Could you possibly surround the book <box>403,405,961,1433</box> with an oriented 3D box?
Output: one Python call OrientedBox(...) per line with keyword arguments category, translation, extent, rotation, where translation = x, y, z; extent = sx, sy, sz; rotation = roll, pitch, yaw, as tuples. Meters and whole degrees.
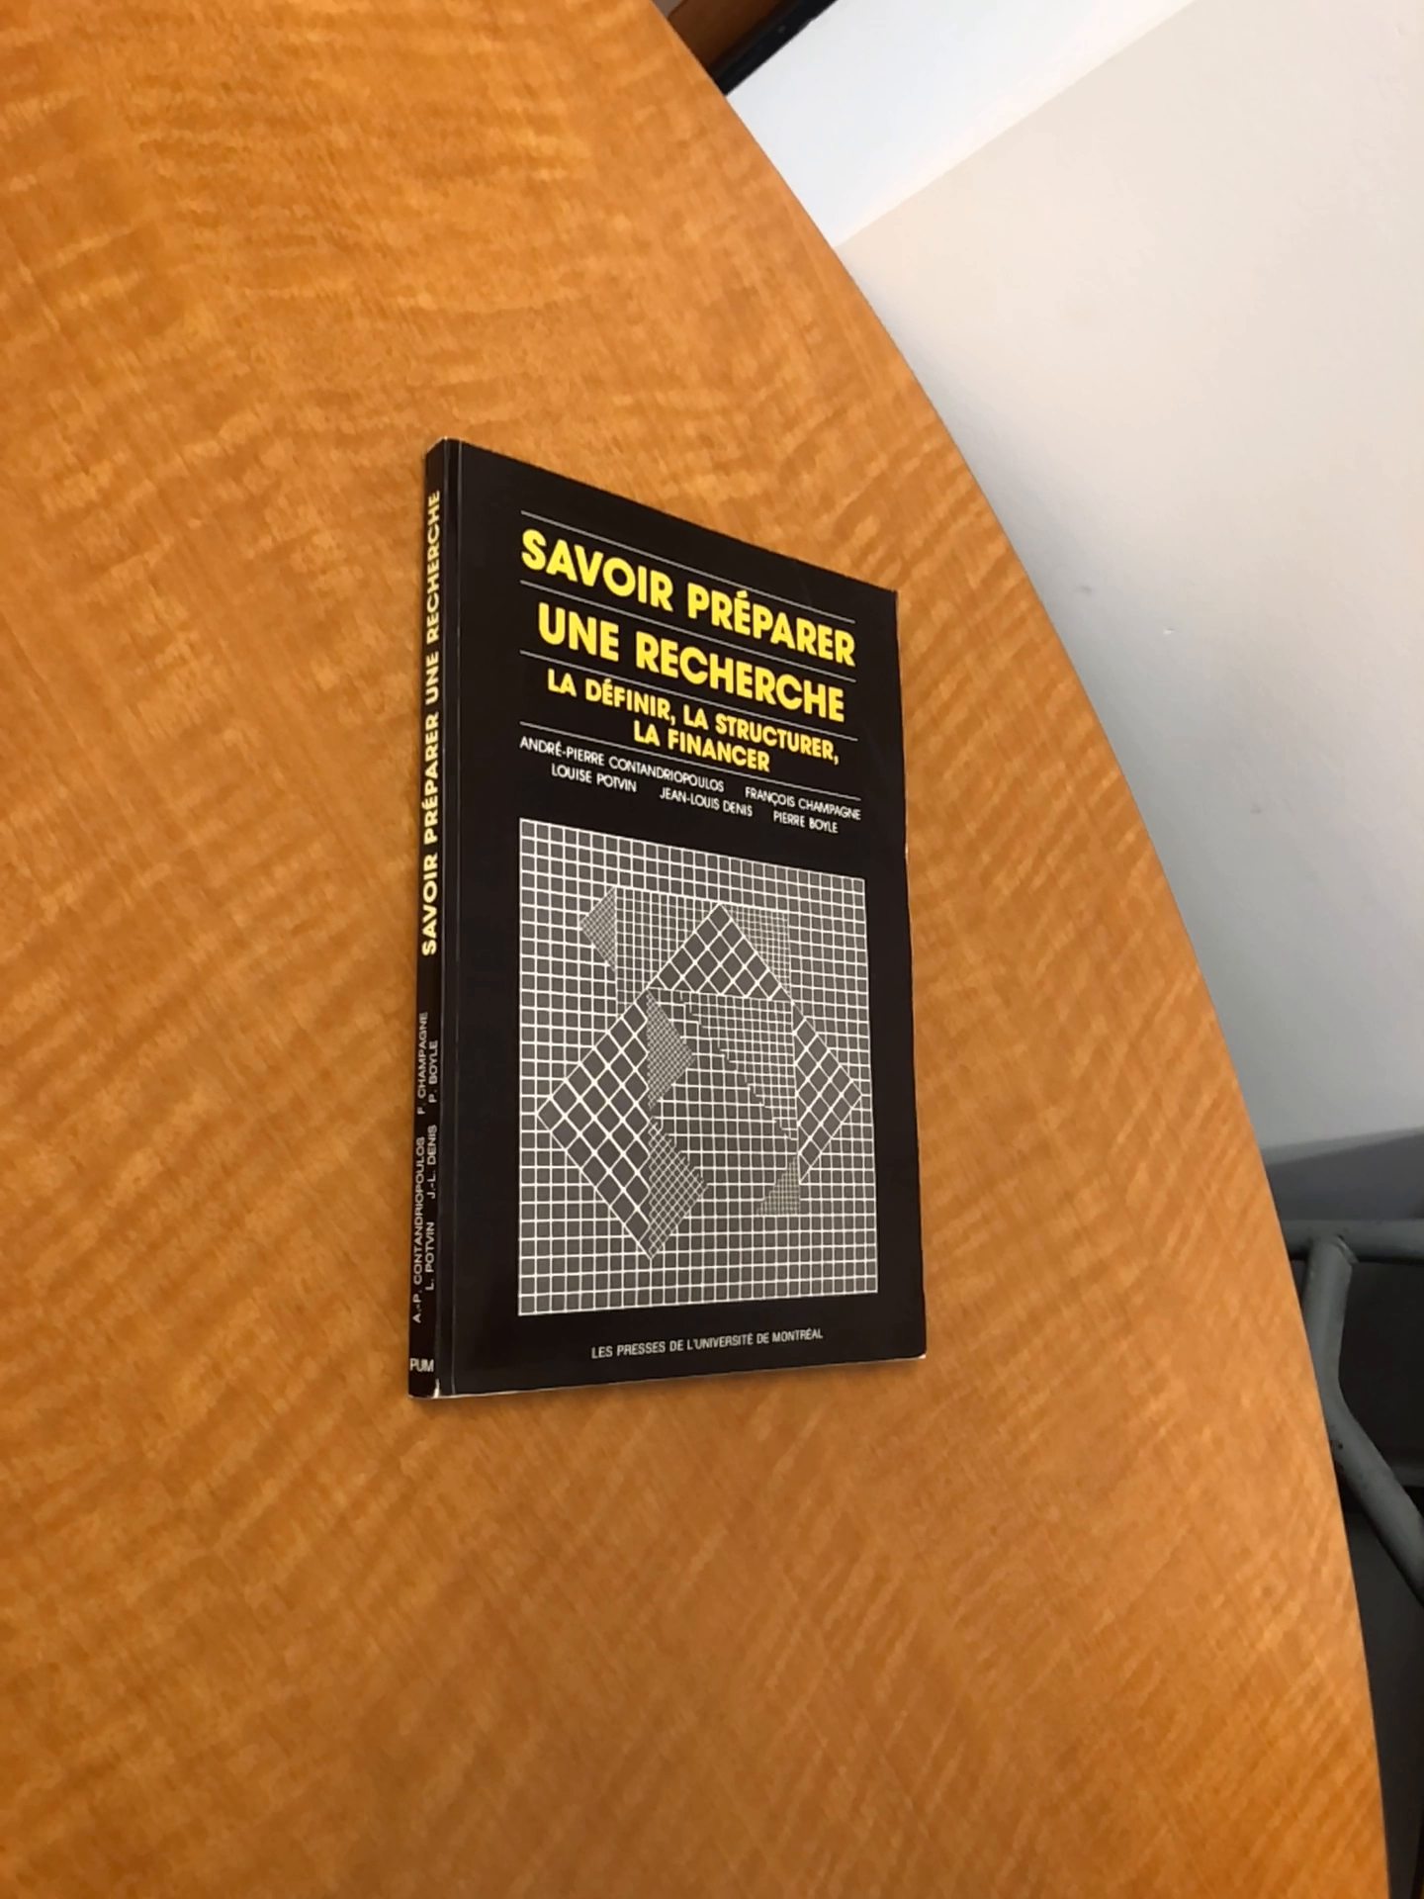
OrientedBox(category="book", translation=(-0.005, -0.005, 0.422), extent=(0.161, 0.030, 0.240), rotation=(7, 77, -40))
